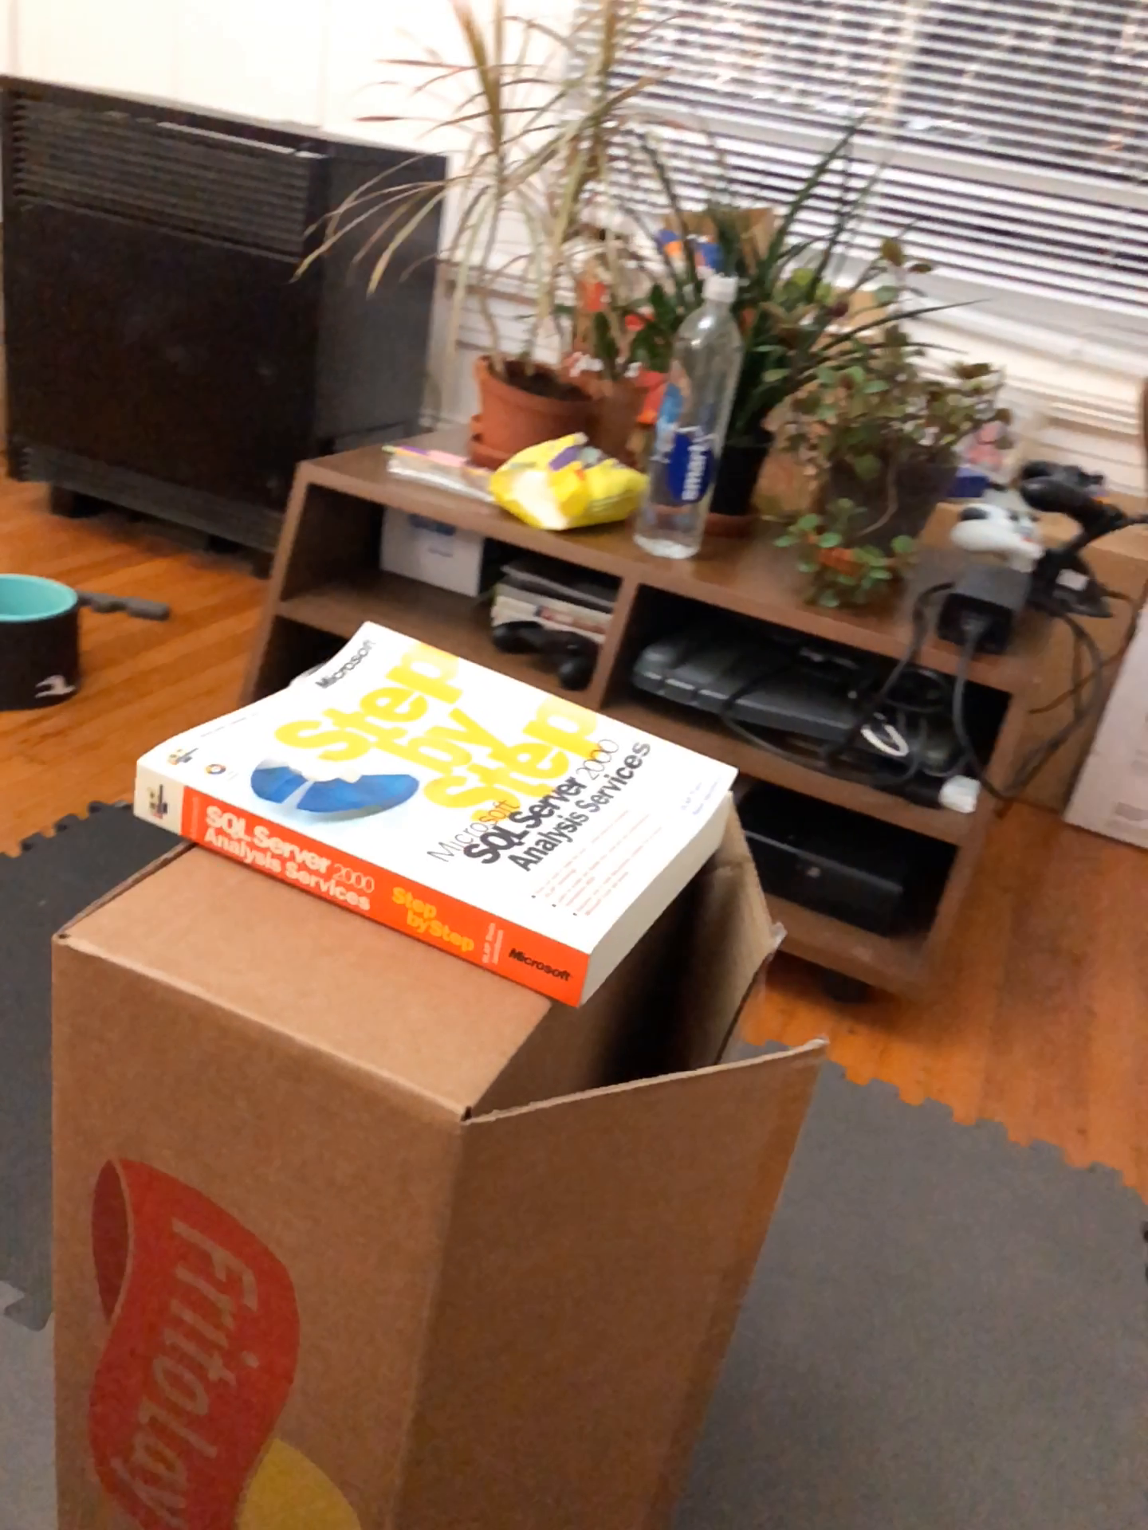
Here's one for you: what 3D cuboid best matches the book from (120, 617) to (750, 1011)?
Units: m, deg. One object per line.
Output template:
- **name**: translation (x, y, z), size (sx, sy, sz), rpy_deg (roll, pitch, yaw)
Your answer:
- **book**: translation (-0.057, 0.007, 0.624), size (0.240, 0.050, 0.201), rpy_deg (21, 24, 15)
